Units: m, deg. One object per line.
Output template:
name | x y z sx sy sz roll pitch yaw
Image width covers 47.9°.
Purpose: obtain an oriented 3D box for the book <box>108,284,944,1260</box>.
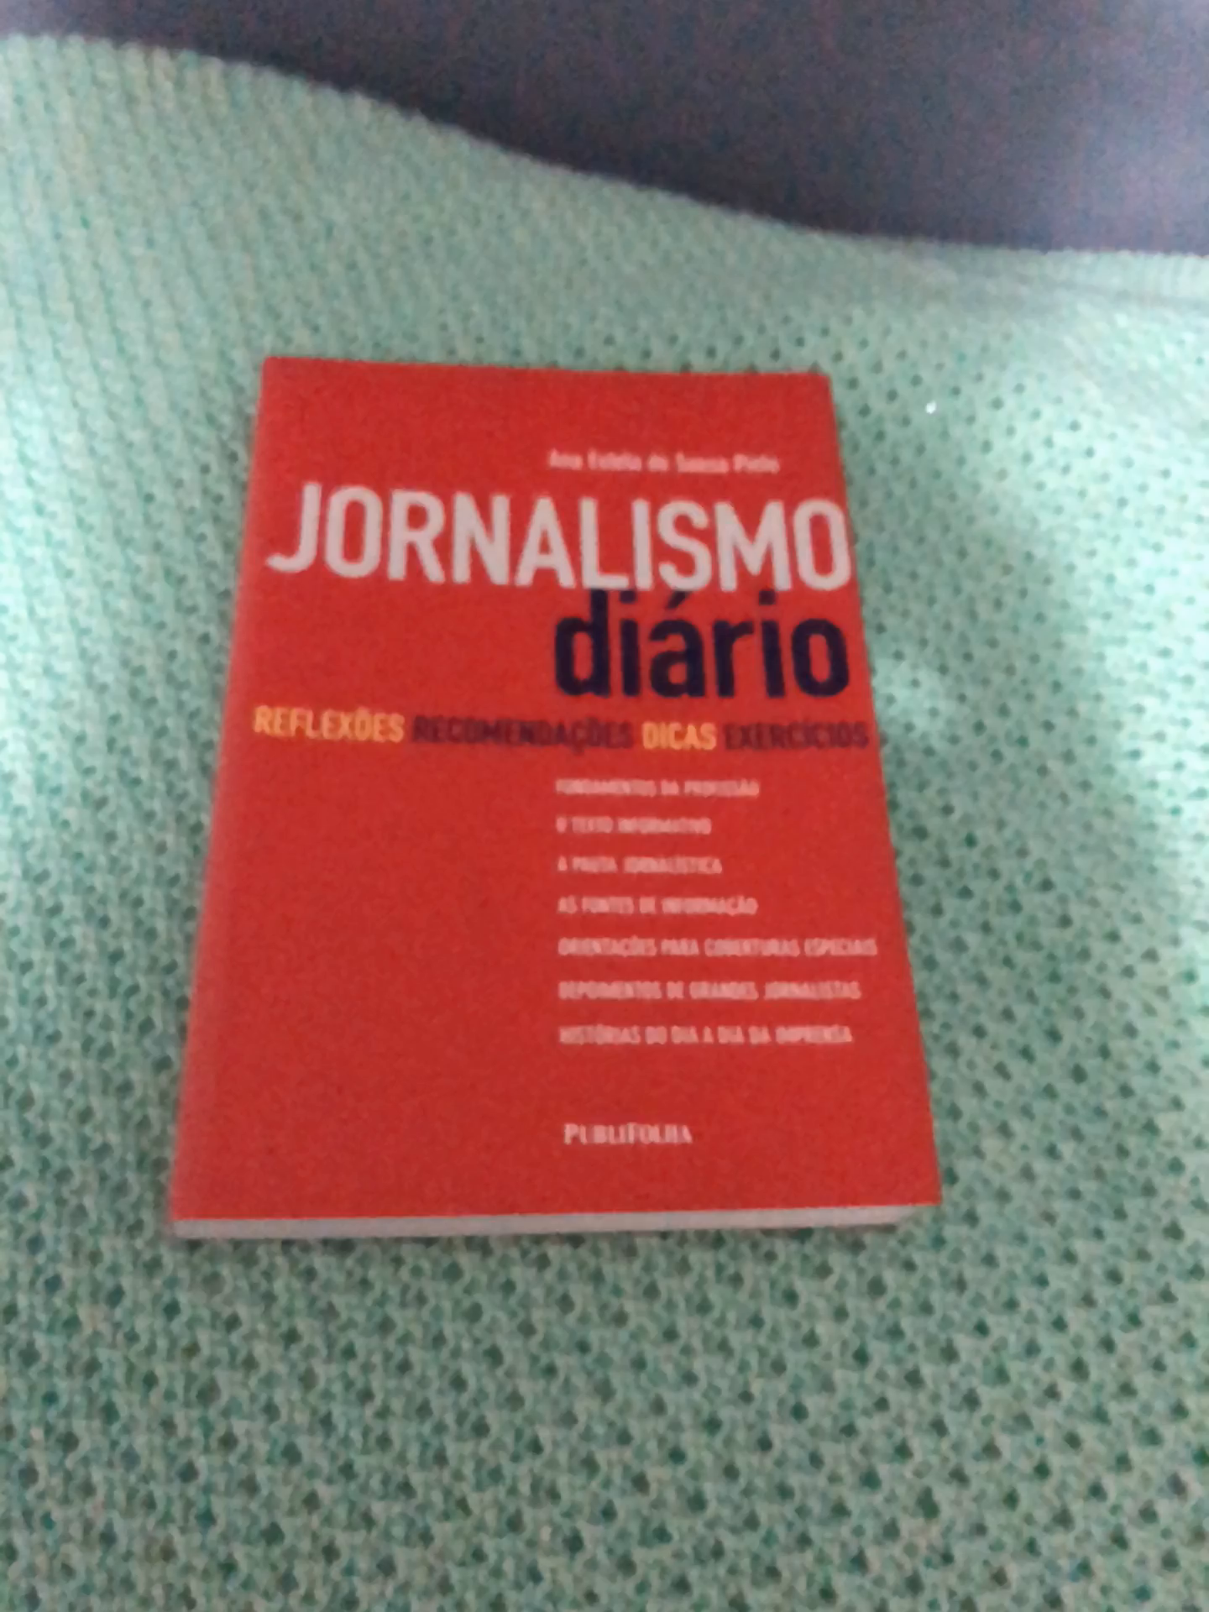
book | -0.018 -0.025 0.331 0.160 0.030 0.251 -1 63 -3
